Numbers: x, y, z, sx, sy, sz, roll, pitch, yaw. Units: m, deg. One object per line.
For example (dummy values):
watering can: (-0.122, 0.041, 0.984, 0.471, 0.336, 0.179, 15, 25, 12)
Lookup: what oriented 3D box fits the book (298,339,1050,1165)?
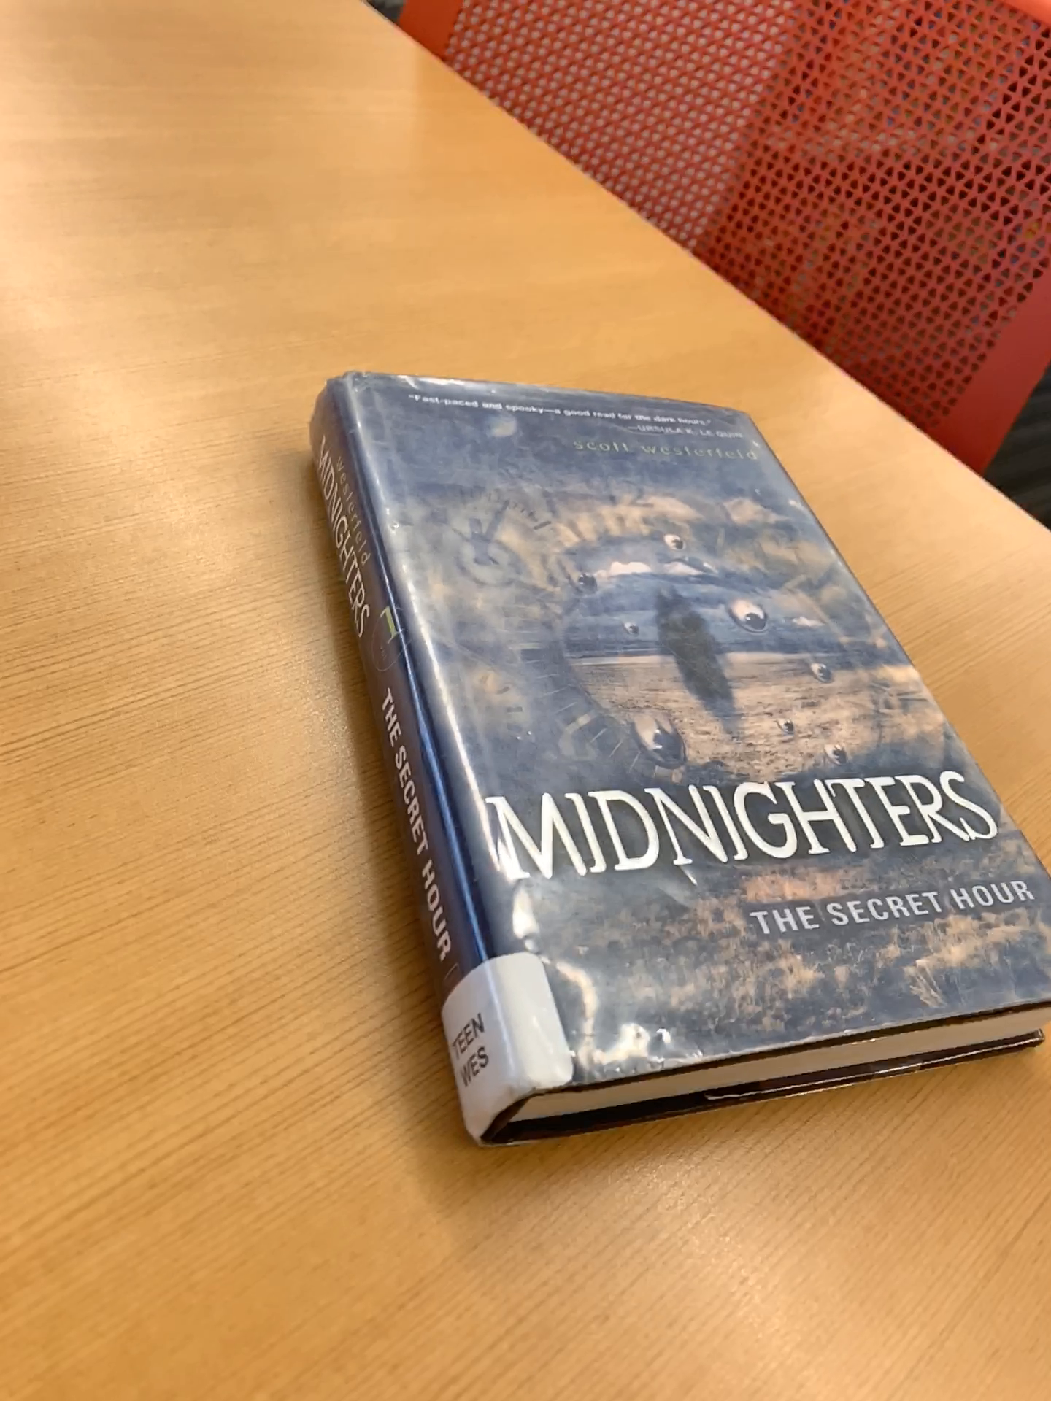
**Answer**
book: (0.032, -0.009, 0.289, 0.151, 0.036, 0.221, -1, 50, -22)
